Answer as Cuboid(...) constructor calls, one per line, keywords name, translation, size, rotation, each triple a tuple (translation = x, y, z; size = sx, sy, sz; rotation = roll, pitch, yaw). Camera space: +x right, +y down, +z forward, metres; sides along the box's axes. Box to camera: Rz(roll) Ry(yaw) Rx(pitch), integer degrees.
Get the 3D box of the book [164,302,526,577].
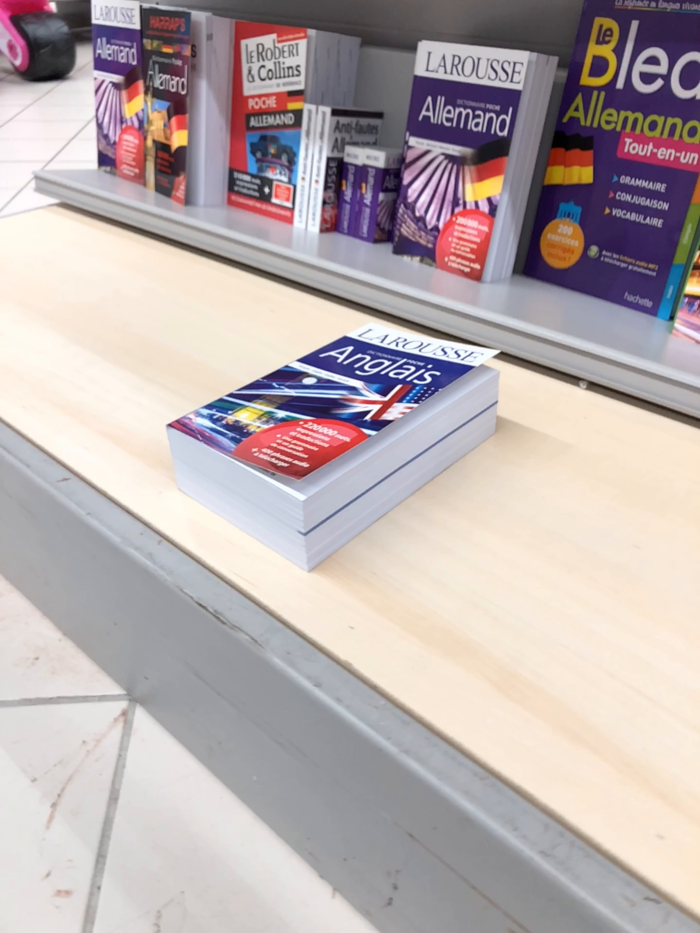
Cuboid(name="book", translation=(0.003, -0.029, 0.460), size=(0.117, 0.054, 0.182), rotation=(28, 45, 33))
